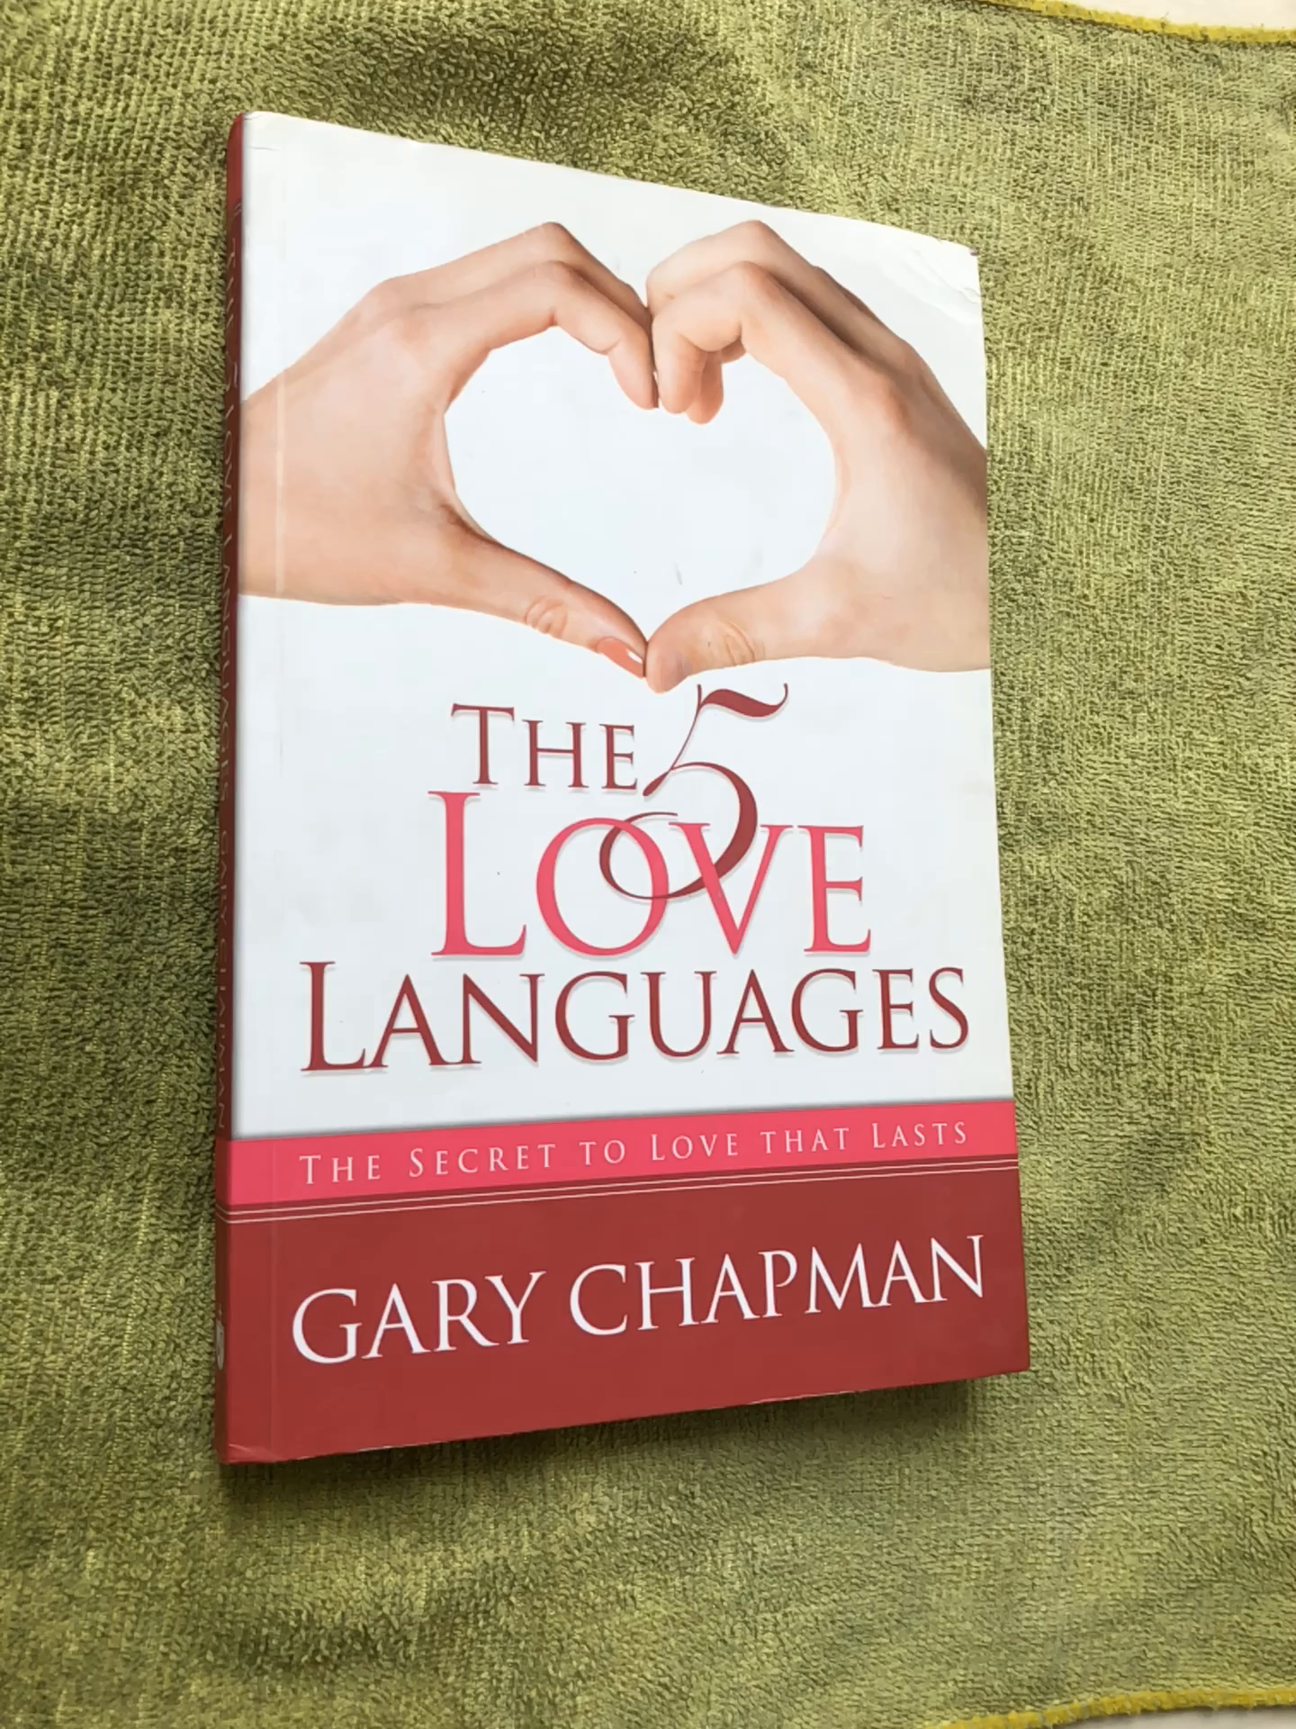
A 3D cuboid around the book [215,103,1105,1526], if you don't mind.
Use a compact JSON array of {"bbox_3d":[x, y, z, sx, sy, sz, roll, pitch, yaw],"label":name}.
[{"bbox_3d":[0.002,-0.010,0.240,0.140,0.030,0.200,0,84,-21],"label":"book"}]
